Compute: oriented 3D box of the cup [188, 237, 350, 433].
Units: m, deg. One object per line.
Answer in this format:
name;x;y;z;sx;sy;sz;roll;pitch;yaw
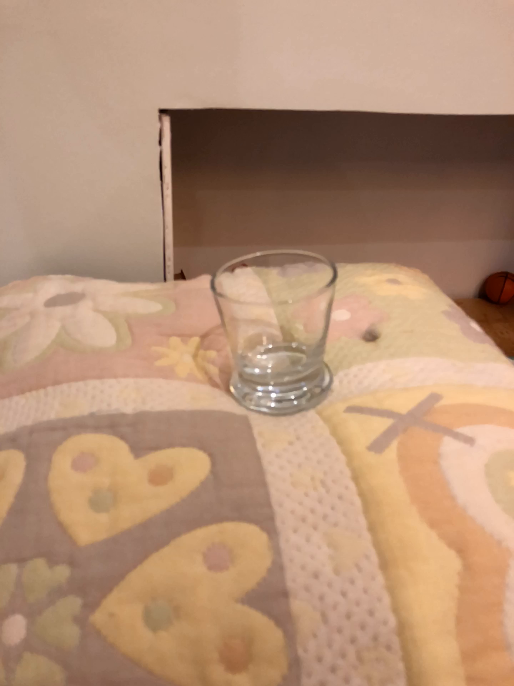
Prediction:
cup;0.007;-0.009;0.370;0.080;0.089;0.080;-4;28;2
